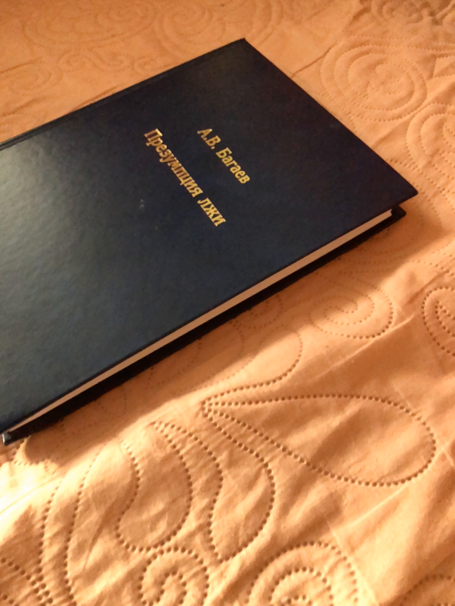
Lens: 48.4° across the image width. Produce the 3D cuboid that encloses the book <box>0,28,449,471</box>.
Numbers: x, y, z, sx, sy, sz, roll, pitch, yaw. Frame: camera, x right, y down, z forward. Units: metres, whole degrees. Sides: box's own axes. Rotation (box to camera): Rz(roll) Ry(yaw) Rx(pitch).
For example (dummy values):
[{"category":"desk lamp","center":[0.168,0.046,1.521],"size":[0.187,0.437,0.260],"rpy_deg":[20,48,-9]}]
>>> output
[{"category":"book","center":[-0.039,-0.057,0.294],"size":[0.260,0.030,0.181],"rpy_deg":[-30,62,-13]}]
